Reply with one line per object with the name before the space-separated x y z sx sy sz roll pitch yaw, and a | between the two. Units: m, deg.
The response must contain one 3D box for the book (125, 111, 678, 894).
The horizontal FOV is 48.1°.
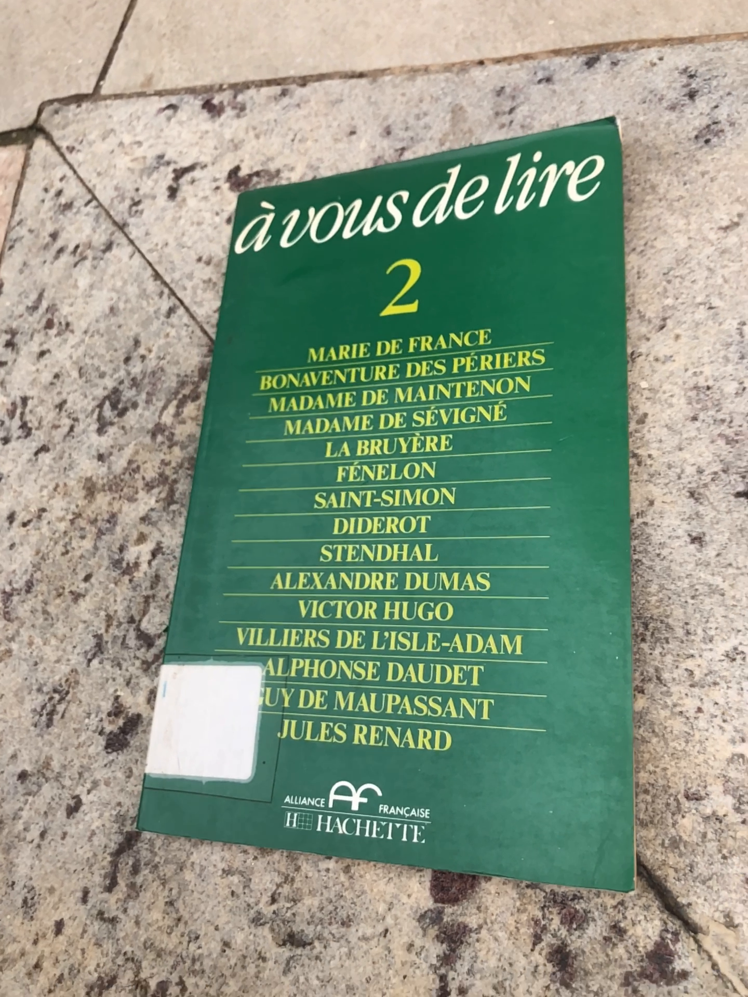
book | 0.010 -0.010 0.244 0.140 0.017 0.210 -3 68 22
